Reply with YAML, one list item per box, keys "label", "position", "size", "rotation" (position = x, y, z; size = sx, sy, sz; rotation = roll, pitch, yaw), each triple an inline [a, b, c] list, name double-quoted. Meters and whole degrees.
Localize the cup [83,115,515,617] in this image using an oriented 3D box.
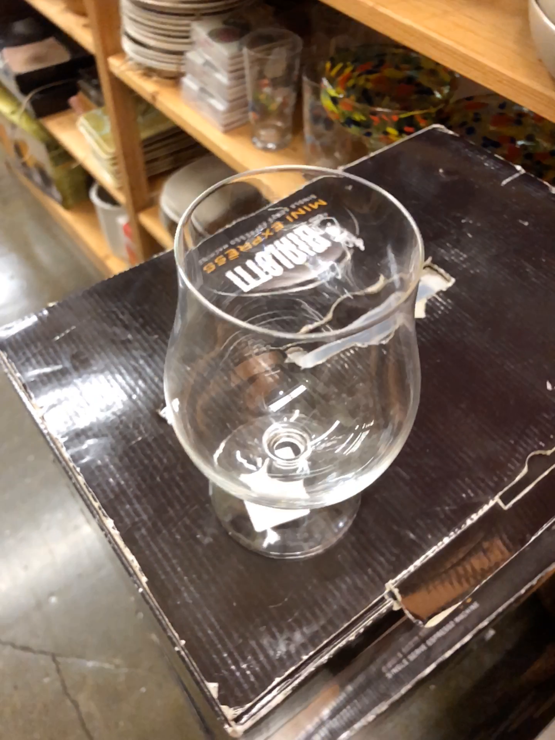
- label: "cup"
  position: [0.003, 0.008, 0.221]
  size: [0.079, 0.145, 0.082]
  rotation: [0, 53, 0]
